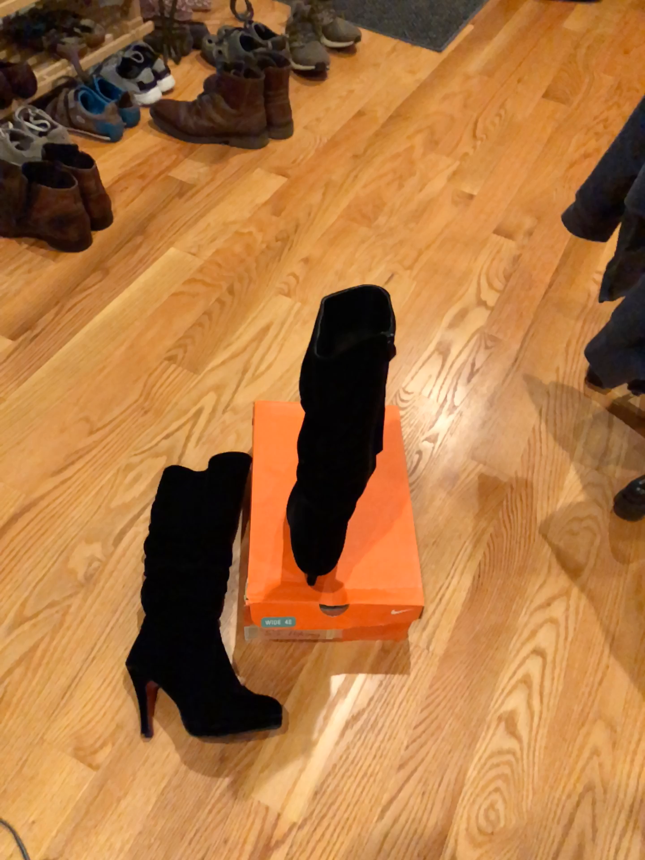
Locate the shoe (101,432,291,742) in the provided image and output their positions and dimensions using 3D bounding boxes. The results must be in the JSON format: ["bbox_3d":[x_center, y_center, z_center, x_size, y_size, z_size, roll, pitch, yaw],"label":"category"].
[{"bbox_3d":[-0.150,0.187,0.936,0.206,0.089,0.401,0,51,-5],"label":"shoe"}]

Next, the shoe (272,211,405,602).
[{"bbox_3d":[0.007,-0.001,0.776,0.089,0.397,0.217,6,51,-3],"label":"shoe"}]
